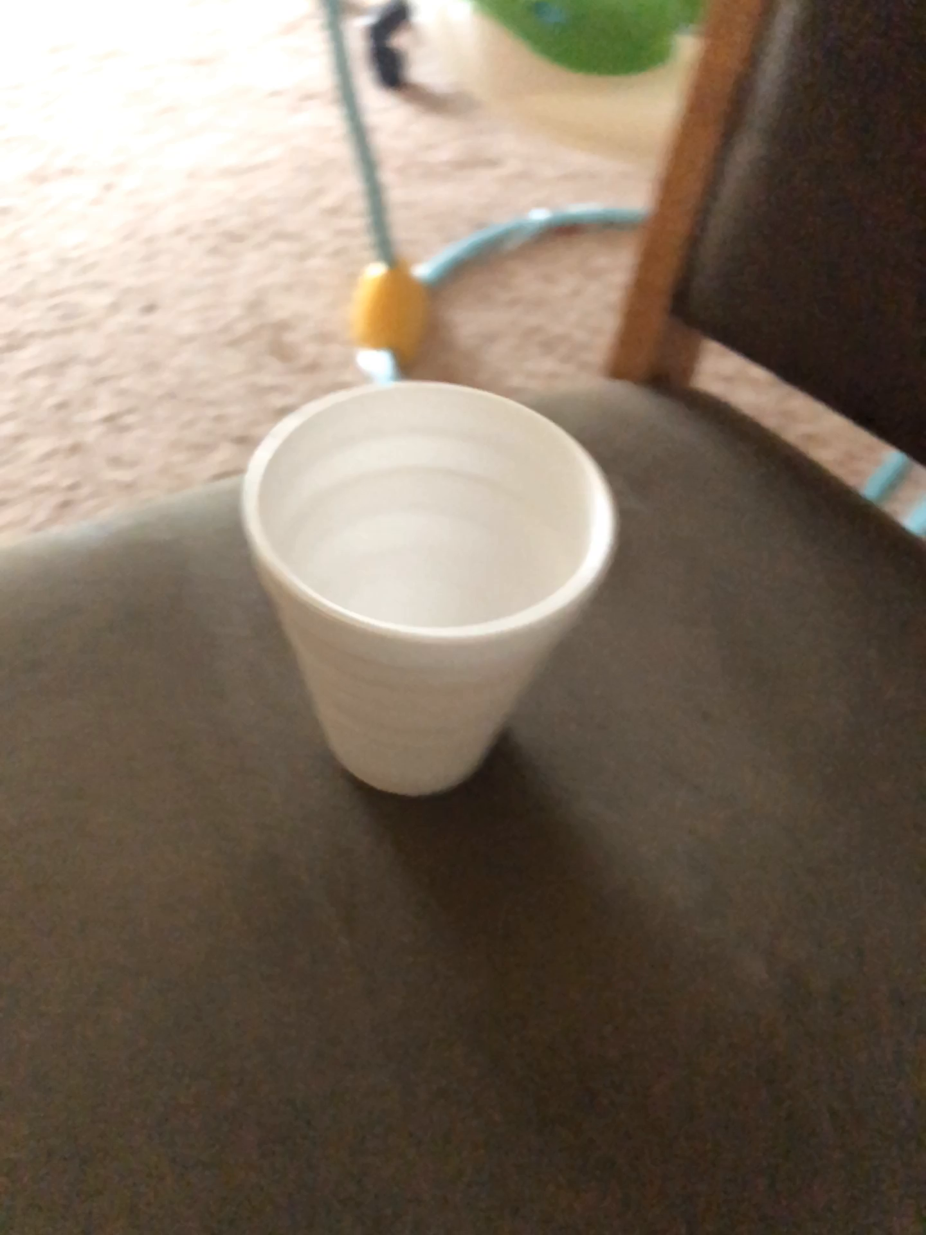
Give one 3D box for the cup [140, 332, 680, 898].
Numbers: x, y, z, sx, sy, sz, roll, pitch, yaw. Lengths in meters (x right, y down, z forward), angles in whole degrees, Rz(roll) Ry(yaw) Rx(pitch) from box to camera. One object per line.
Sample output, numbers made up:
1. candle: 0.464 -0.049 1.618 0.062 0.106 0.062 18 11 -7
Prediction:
1. cup: -0.011 -0.002 0.270 0.090 0.080 0.090 2 51 -3
